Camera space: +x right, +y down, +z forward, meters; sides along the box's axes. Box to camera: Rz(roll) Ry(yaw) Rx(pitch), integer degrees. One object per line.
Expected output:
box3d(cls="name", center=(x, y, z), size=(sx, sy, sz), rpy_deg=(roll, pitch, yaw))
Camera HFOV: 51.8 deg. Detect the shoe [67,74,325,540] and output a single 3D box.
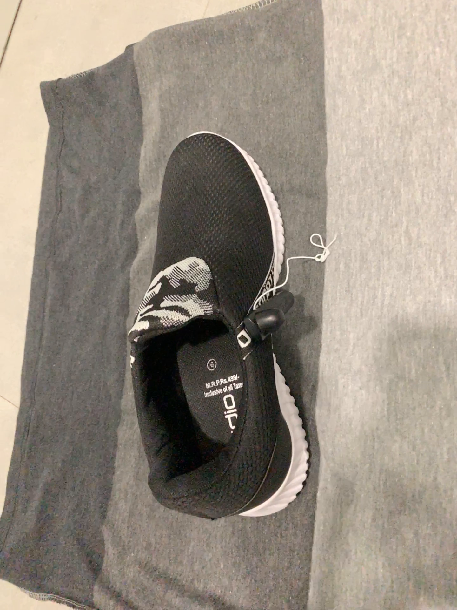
box3d(cls="shoe", center=(-0.024, 0.006, 0.299), size=(0.100, 0.100, 0.240), rpy_deg=(-15, 74, 27))
